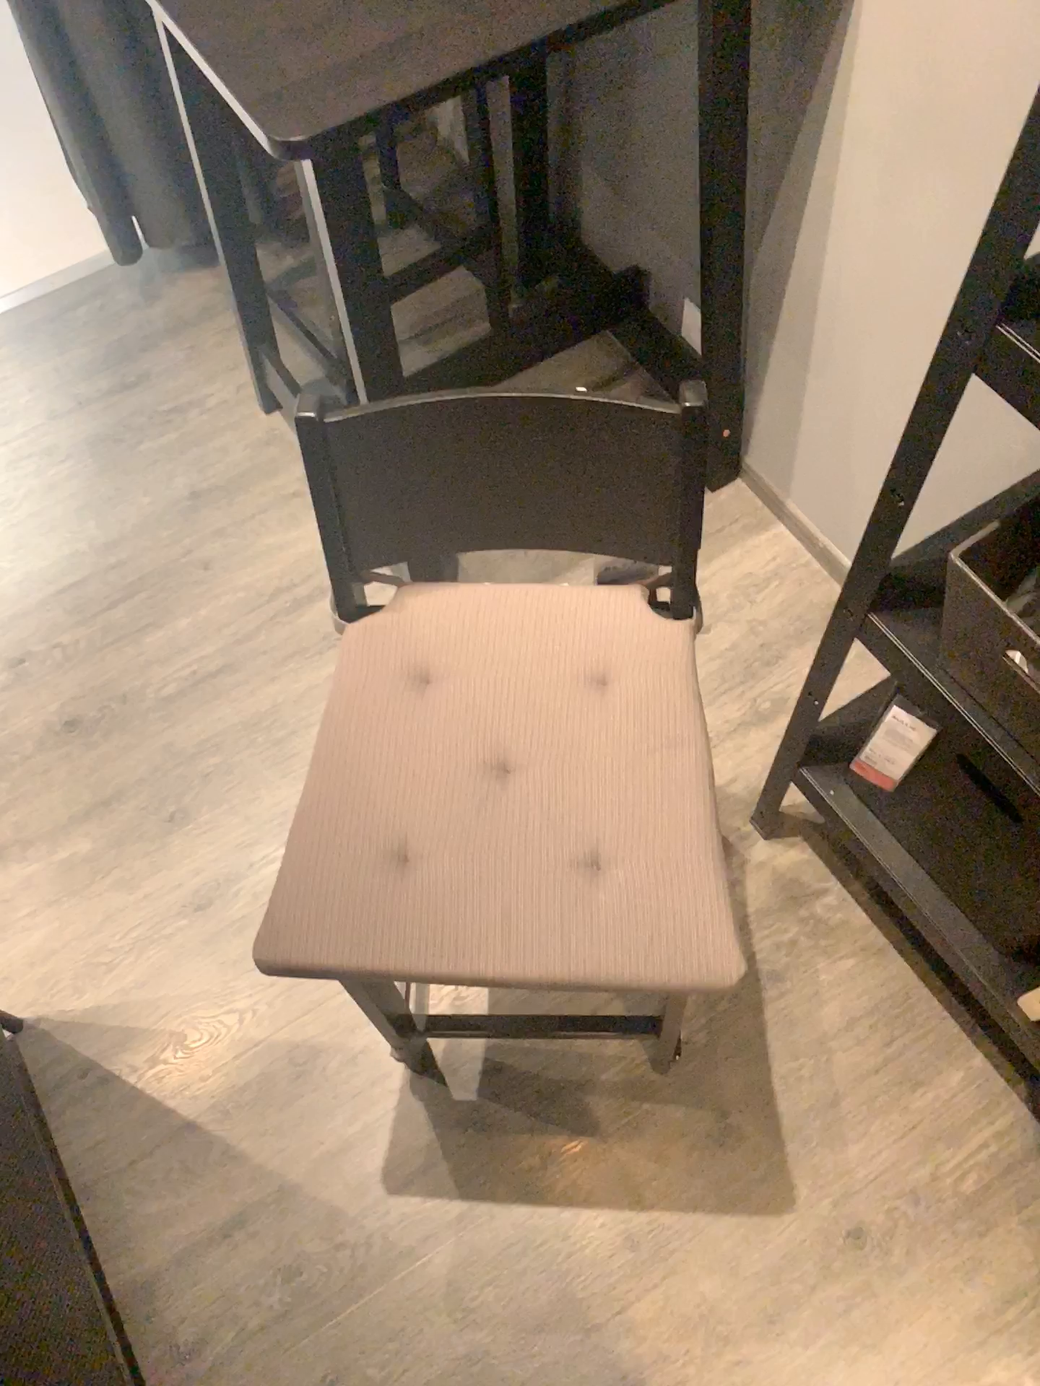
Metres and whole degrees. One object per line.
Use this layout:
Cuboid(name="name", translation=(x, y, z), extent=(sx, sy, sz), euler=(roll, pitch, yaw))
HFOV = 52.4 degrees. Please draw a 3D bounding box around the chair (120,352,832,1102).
Cuboid(name="chair", translation=(-0.005, 0.139, 1.190), extent=(0.460, 0.889, 0.501), euler=(-1, 63, 3))
